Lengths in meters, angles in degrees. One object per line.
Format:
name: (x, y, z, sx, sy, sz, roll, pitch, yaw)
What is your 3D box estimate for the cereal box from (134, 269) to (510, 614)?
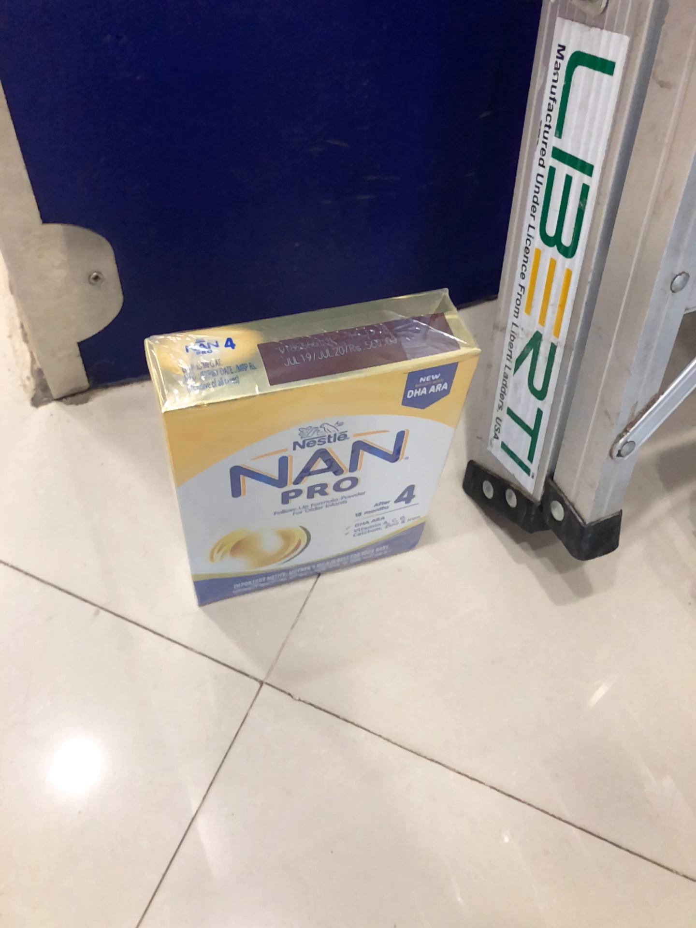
cereal box: (-0.019, -0.002, 0.447, 0.170, 0.209, 0.050, -13, 57, -15)
